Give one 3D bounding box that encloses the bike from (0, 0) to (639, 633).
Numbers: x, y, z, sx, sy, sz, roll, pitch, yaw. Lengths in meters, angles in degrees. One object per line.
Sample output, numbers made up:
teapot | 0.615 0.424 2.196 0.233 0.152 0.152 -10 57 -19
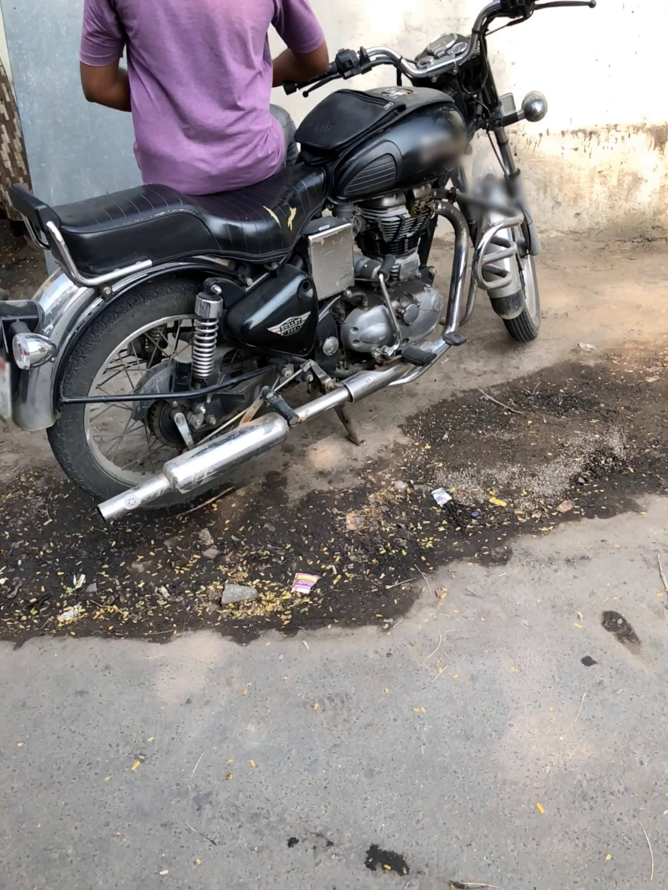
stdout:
bike | -0.028 -0.677 2.197 1.928 1.173 0.840 -33 44 -29
